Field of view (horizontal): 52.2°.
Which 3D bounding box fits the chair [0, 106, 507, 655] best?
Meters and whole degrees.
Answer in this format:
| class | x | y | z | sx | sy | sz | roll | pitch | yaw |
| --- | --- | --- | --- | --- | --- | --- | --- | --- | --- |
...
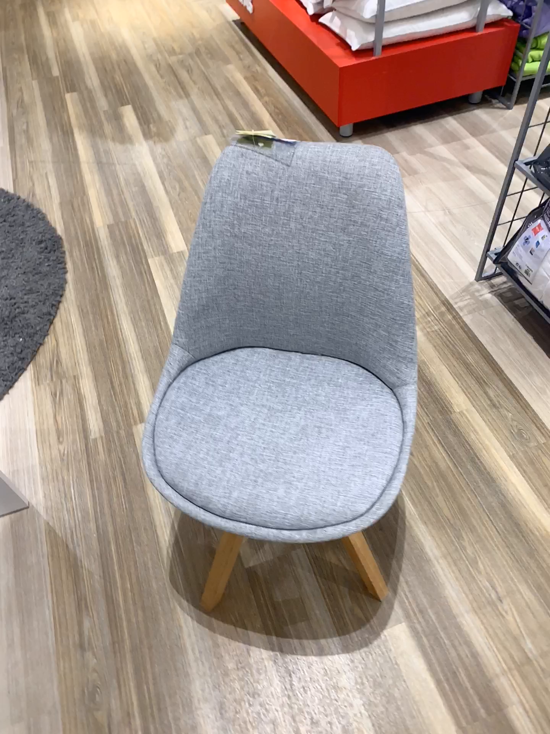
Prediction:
| class | x | y | z | sx | sy | sz | roll | pitch | yaw |
| --- | --- | --- | --- | --- | --- | --- | --- | --- | --- |
| chair | 0.028 | 0.089 | 1.018 | 0.513 | 0.856 | 0.517 | 8 | 52 | 10 |
